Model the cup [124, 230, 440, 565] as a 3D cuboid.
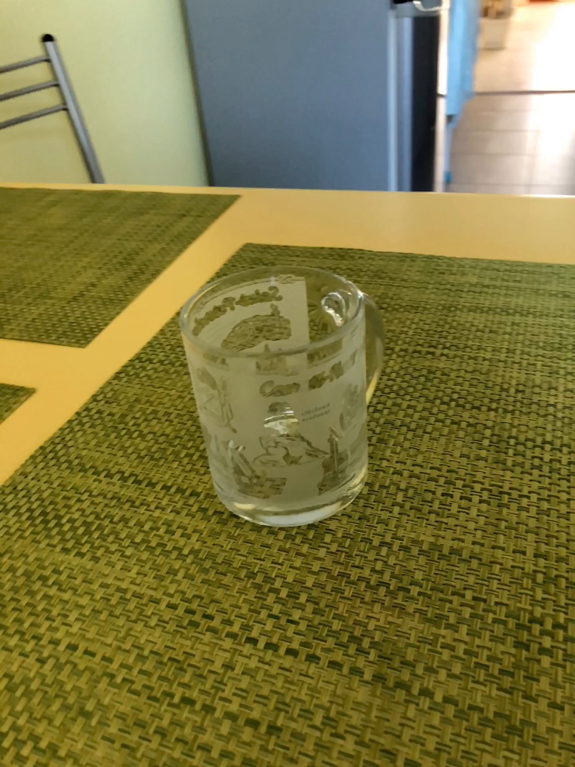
[{"bbox_3d":[0.002,-0.001,0.305,0.110,0.096,0.087,-32,42,-33],"label":"cup"}]
